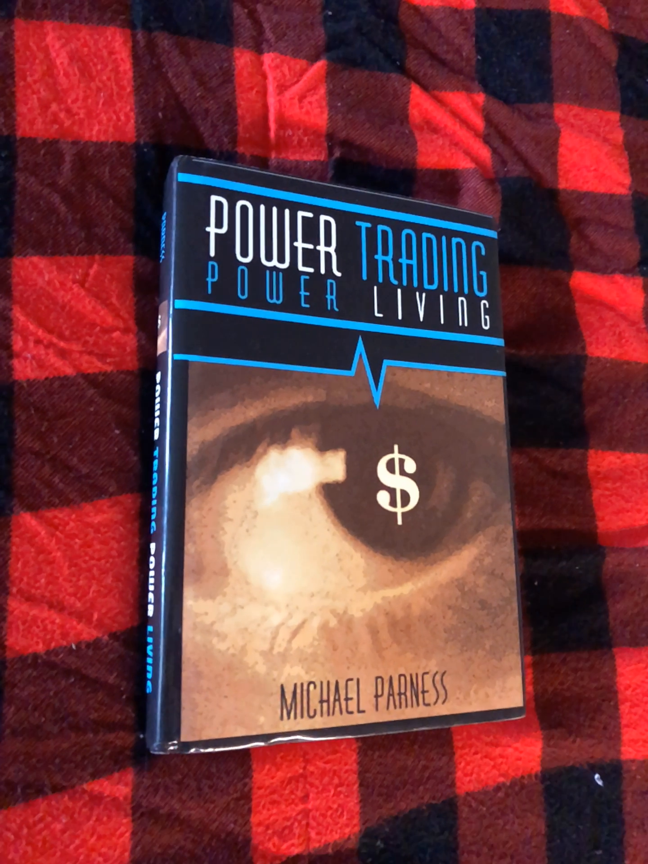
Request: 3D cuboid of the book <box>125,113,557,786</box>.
[{"bbox_3d":[0.011,0.005,0.303,0.170,0.040,0.240,4,80,-22],"label":"book"}]
